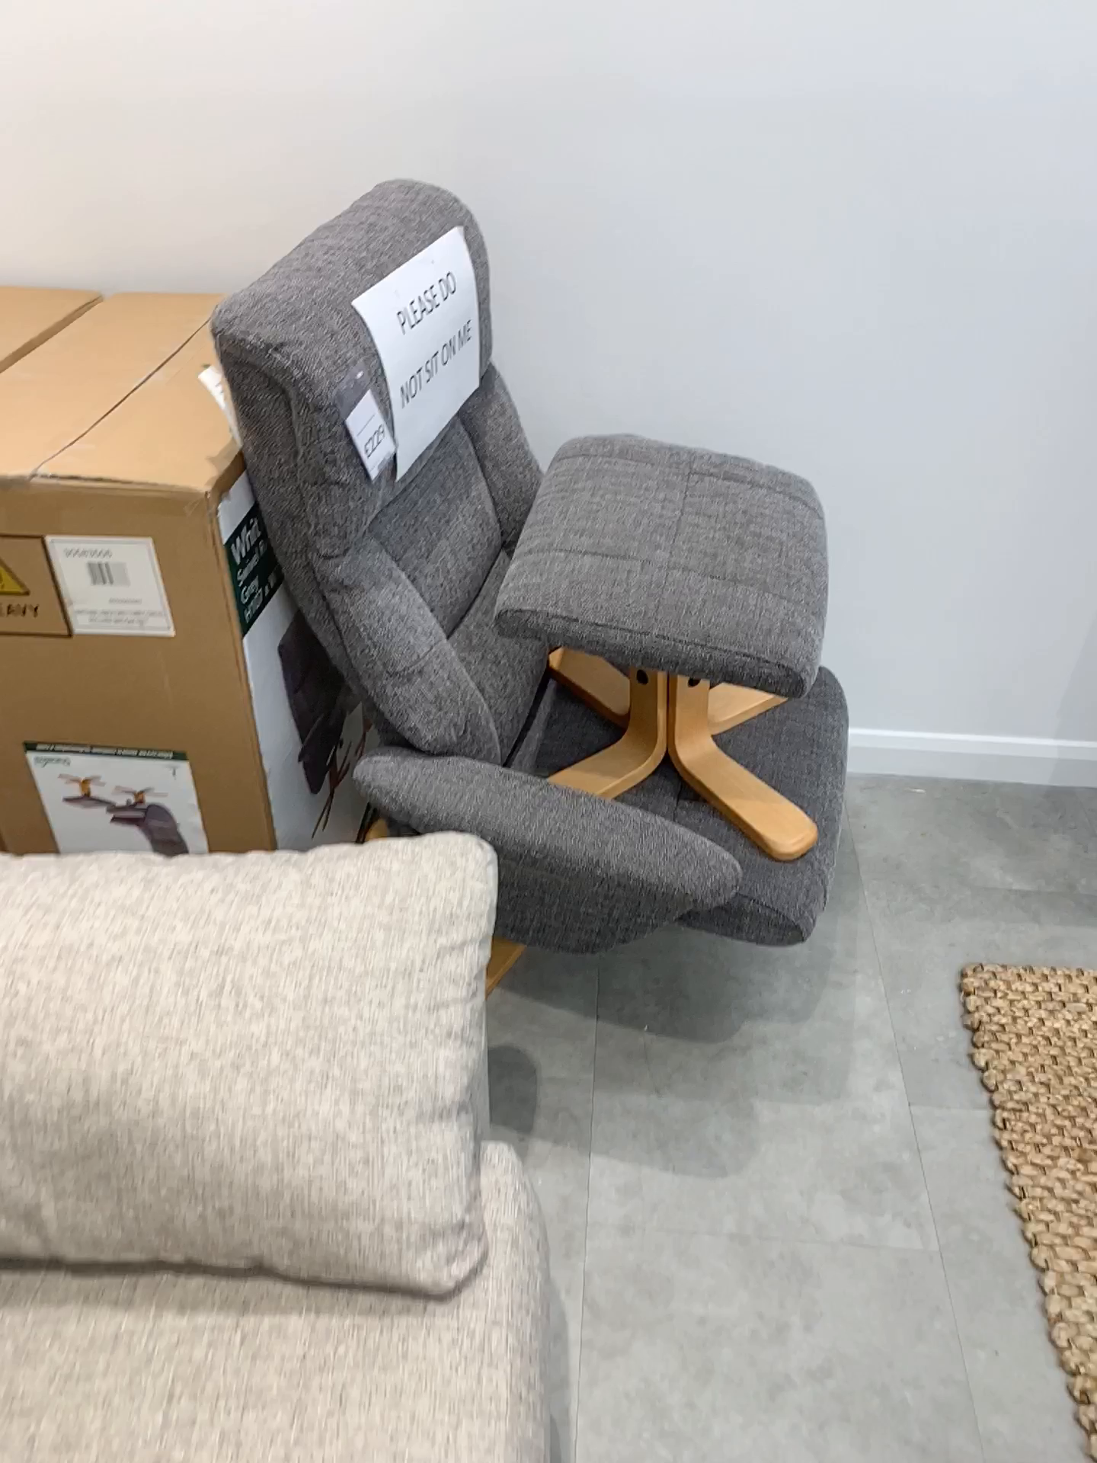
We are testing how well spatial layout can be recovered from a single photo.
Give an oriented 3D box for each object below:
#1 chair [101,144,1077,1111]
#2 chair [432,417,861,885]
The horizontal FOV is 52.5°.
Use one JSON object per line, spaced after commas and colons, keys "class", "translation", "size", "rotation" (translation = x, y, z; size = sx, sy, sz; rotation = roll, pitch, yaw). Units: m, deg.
{"class": "chair", "translation": [0.080, -0.198, 1.498], "size": [0.785, 0.896, 0.875], "rotation": [7, 37, 8]}
{"class": "chair", "translation": [0.137, -0.131, 1.454], "size": [0.445, 0.352, 0.501], "rotation": [7, 37, 8]}
